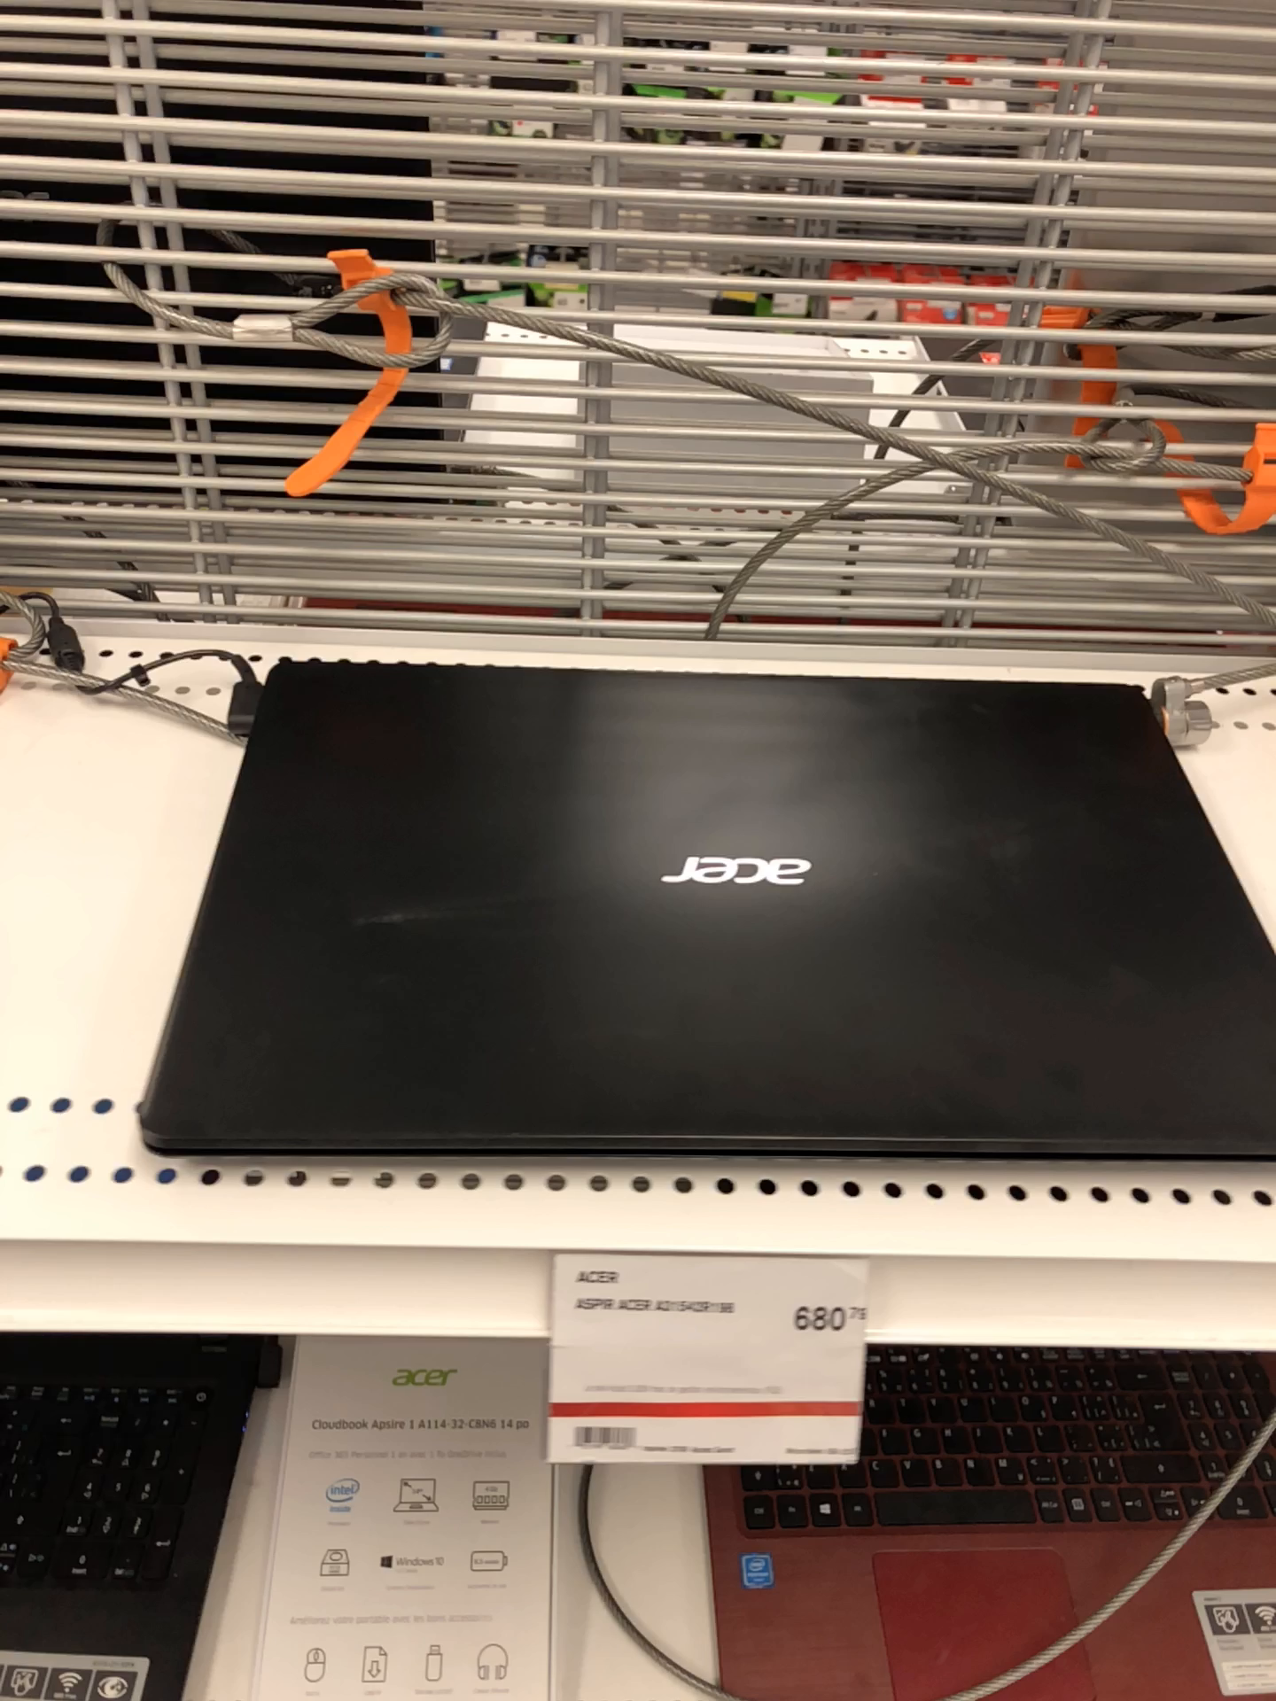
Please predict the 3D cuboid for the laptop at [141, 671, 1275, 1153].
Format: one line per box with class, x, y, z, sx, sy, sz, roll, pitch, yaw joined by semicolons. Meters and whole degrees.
laptop;0.034;0.009;0.500;0.354;0.006;0.232;1;41;-4
